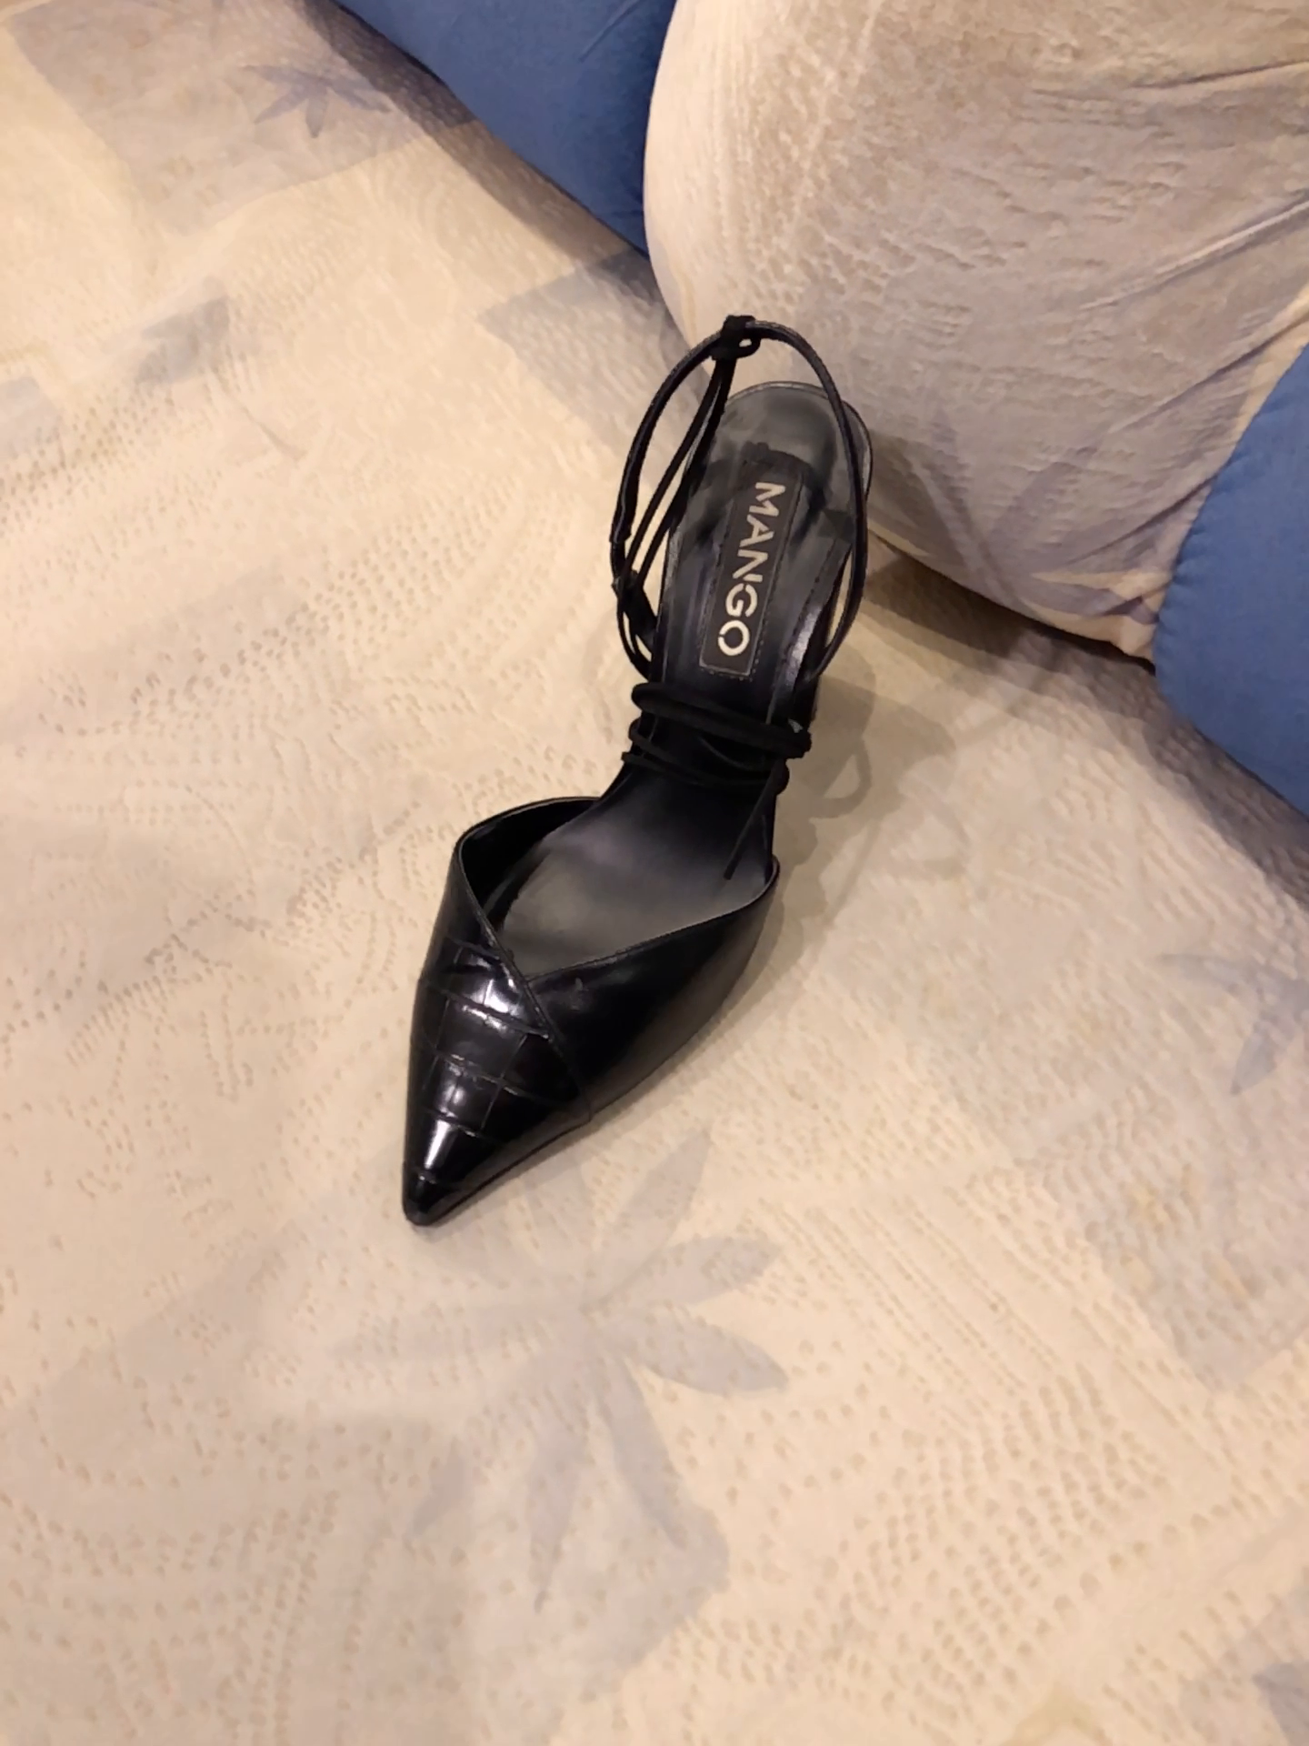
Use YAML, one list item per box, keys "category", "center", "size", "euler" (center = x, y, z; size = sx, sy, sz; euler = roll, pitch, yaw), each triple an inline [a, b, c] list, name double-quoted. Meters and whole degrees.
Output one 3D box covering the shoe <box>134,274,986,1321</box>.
- category: "shoe"
  center: [-0.007, -0.027, 0.377]
  size: [0.083, 0.119, 0.241]
  euler: [24, 60, 16]
